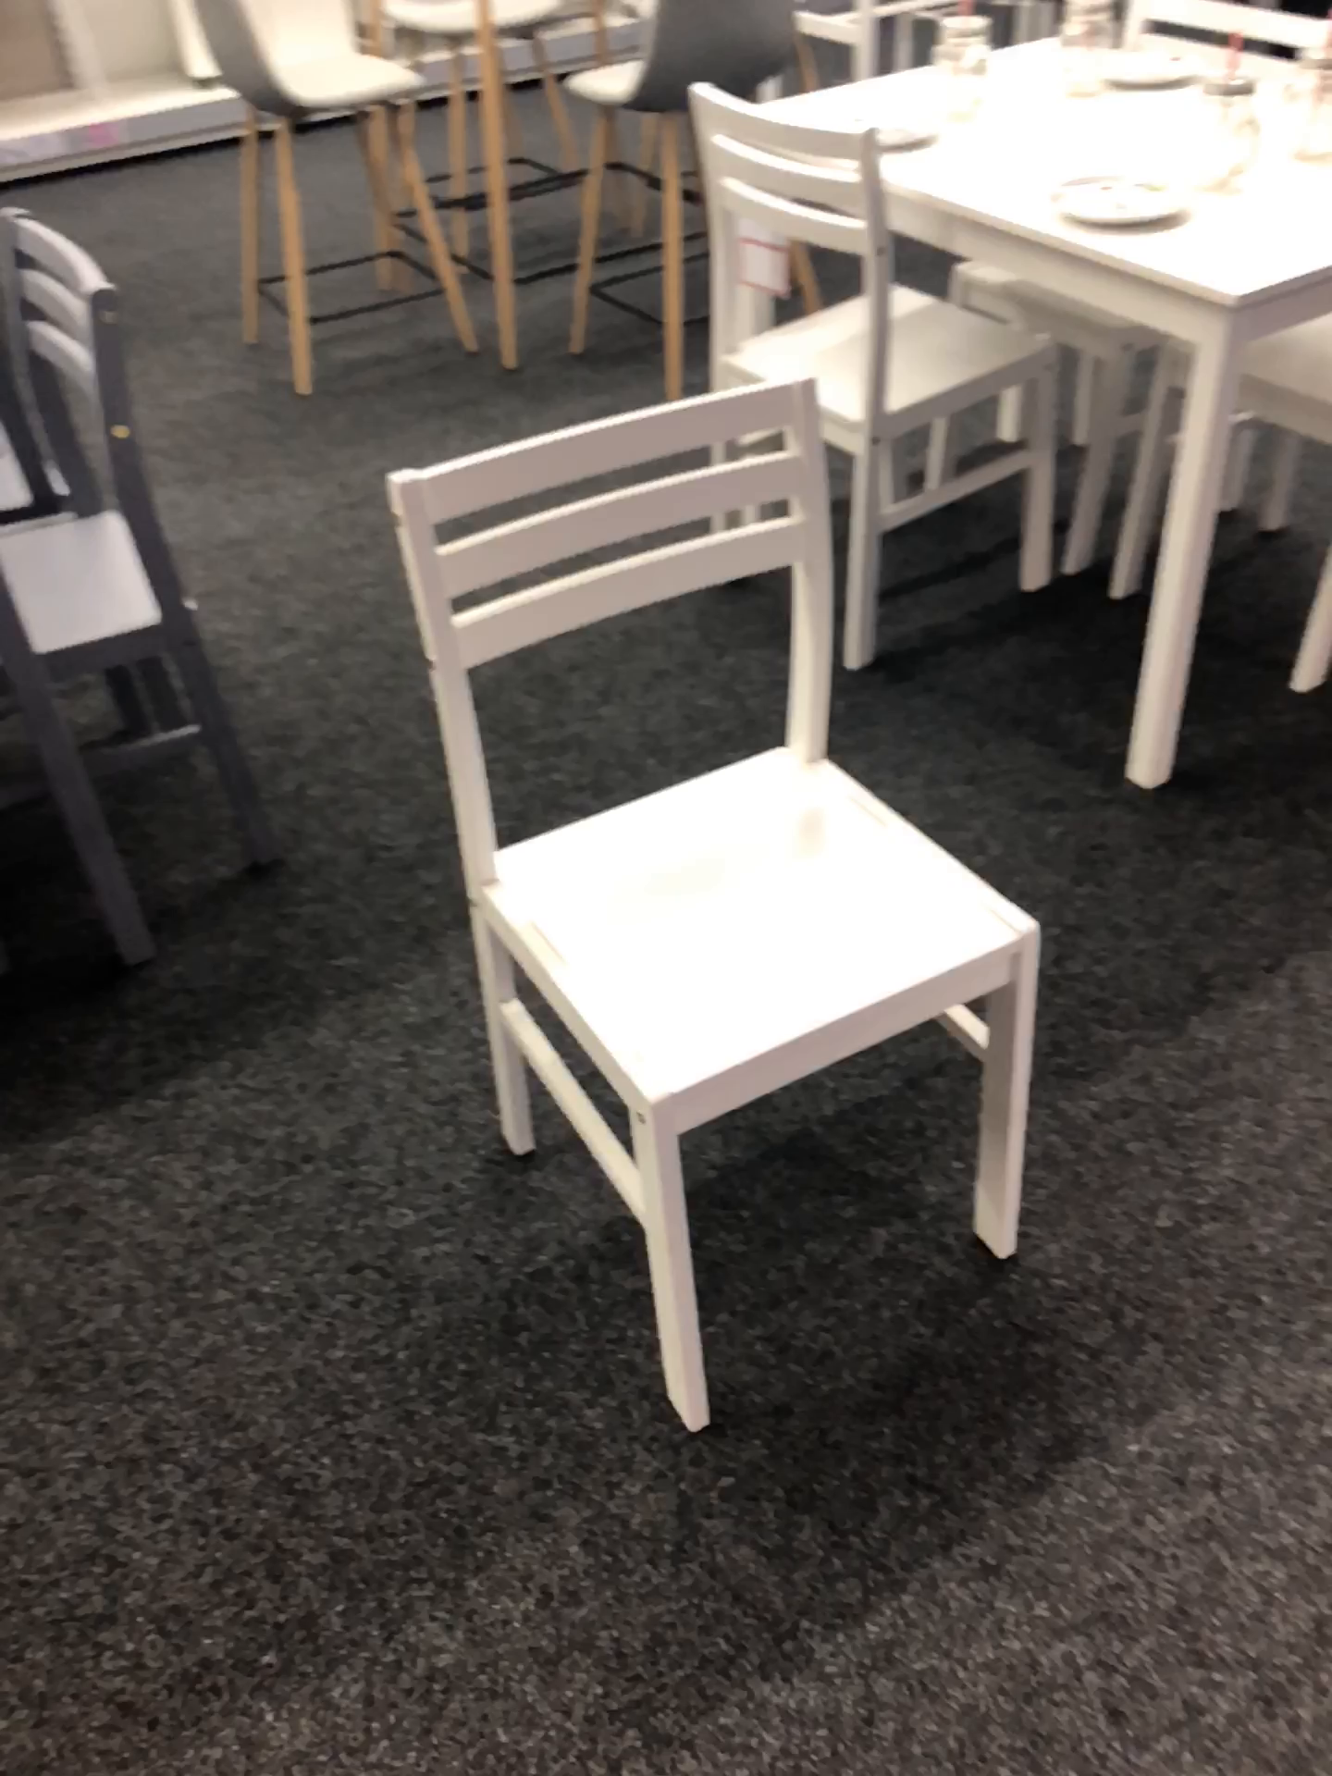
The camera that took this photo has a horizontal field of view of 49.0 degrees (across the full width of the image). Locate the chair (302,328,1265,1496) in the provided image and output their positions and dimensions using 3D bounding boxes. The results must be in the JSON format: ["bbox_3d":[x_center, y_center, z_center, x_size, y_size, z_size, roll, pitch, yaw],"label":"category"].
[{"bbox_3d":[0.082,0.015,1.296,0.501,0.766,0.501,-22,43,-20],"label":"chair"}]
